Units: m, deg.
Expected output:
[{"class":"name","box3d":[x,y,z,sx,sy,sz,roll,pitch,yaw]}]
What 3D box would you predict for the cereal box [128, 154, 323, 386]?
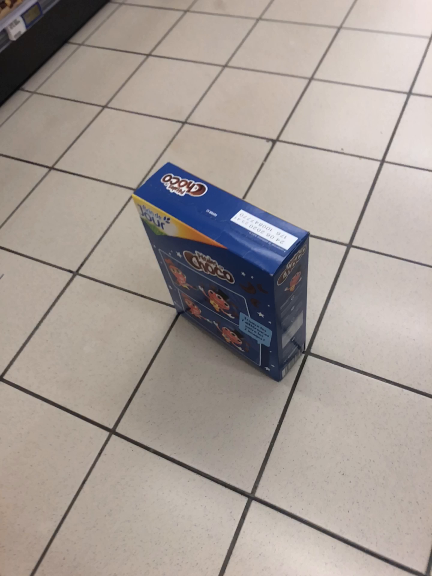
[{"class":"cereal box","box3d":[0.020,-0.012,0.586,0.200,0.249,0.070,32,65,26]}]
